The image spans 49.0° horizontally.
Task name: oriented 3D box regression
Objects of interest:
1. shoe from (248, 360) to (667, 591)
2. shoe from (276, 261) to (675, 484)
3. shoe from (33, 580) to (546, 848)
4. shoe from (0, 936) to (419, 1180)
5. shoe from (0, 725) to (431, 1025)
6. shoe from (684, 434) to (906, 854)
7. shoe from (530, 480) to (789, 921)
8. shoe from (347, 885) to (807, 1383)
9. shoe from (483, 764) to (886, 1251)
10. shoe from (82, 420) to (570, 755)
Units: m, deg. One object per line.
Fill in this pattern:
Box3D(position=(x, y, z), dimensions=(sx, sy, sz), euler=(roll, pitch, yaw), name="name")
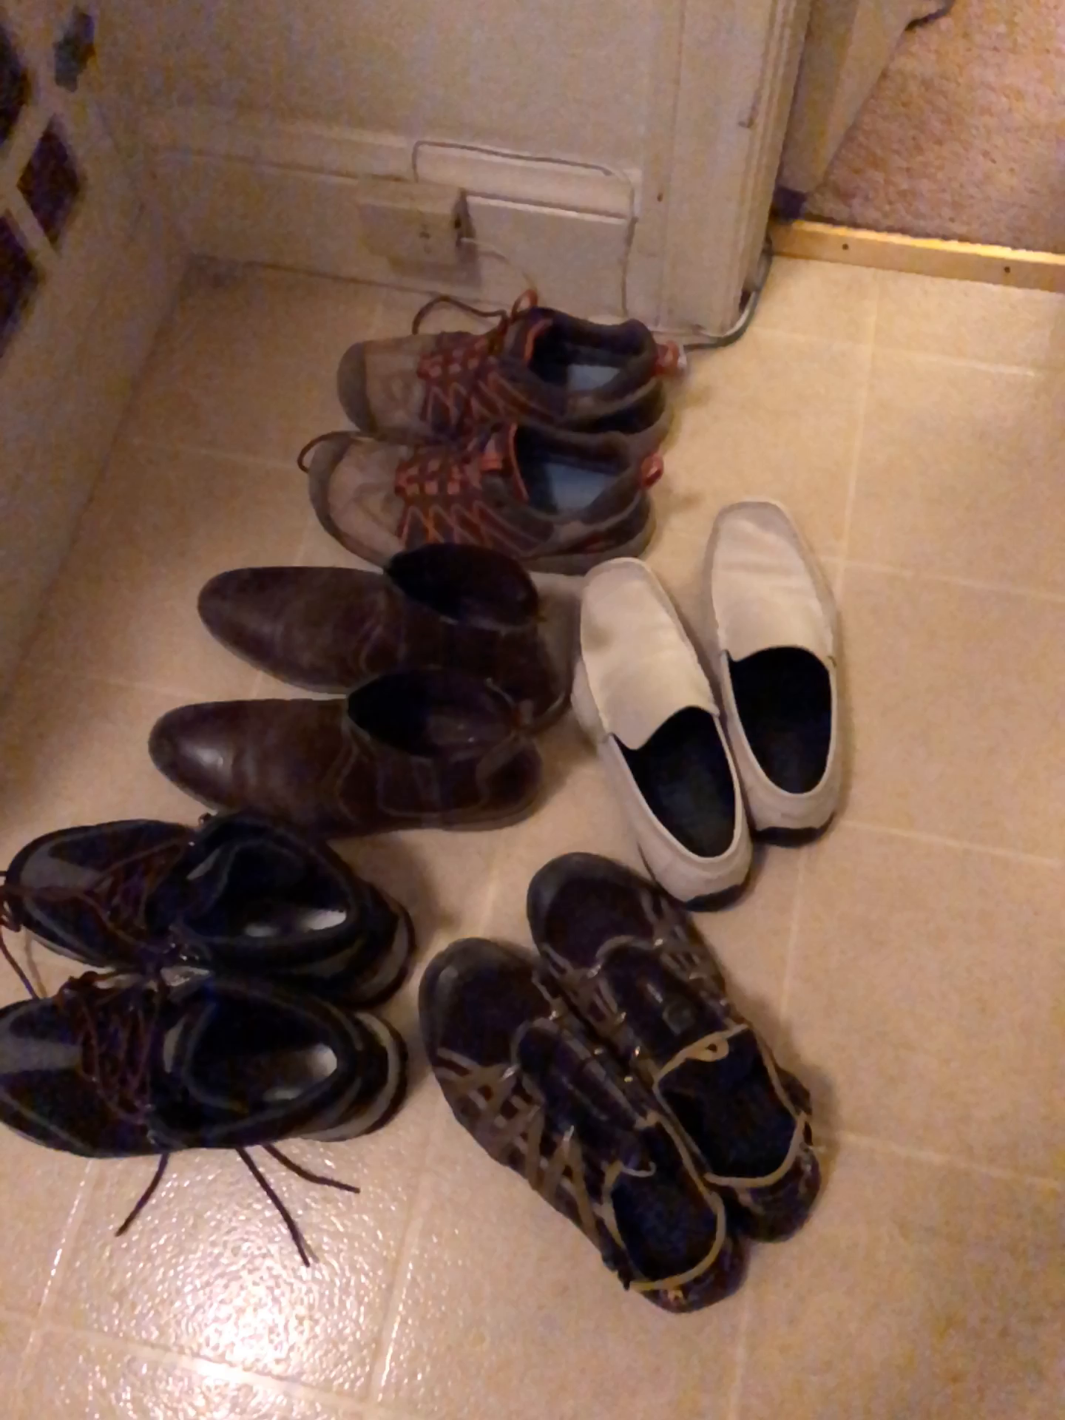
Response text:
Box3D(position=(-0.055, -0.191, 0.961), dimensions=(0.313, 0.113, 0.110), euler=(7, 67, 6), name="shoe")
Box3D(position=(-0.043, -0.290, 1.009), dimensions=(0.313, 0.113, 0.110), euler=(7, 67, 6), name="shoe")
Box3D(position=(-0.159, 0.009, 0.867), dimensions=(0.323, 0.193, 0.110), euler=(4, 67, 4), name="shoe")
Box3D(position=(-0.253, 0.233, 0.764), dimensions=(0.323, 0.193, 0.110), euler=(3, 67, 4), name="shoe")
Box3D(position=(-0.252, 0.122, 0.819), dimensions=(0.323, 0.193, 0.110), euler=(9, 68, 6), name="shoe")
Box3D(position=(0.195, -0.053, 0.916), dimensions=(0.110, 0.113, 0.304), euler=(-4, 67, 1), name="shoe")
Box3D(position=(0.088, -0.009, 0.900), dimensions=(0.110, 0.113, 0.304), euler=(-13, 67, -3), name="shoe")
Box3D(position=(0.024, 0.272, 0.777), dimensions=(0.110, 0.123, 0.293), euler=(-42, 71, -14), name="shoe")
Box3D(position=(0.093, 0.202, 0.807), dimensions=(0.110, 0.123, 0.294), euler=(-31, 69, -10), name="shoe")
Box3D(position=(-0.142, -0.089, 0.906), dimensions=(0.323, 0.193, 0.110), euler=(14, 68, 8), name="shoe")
